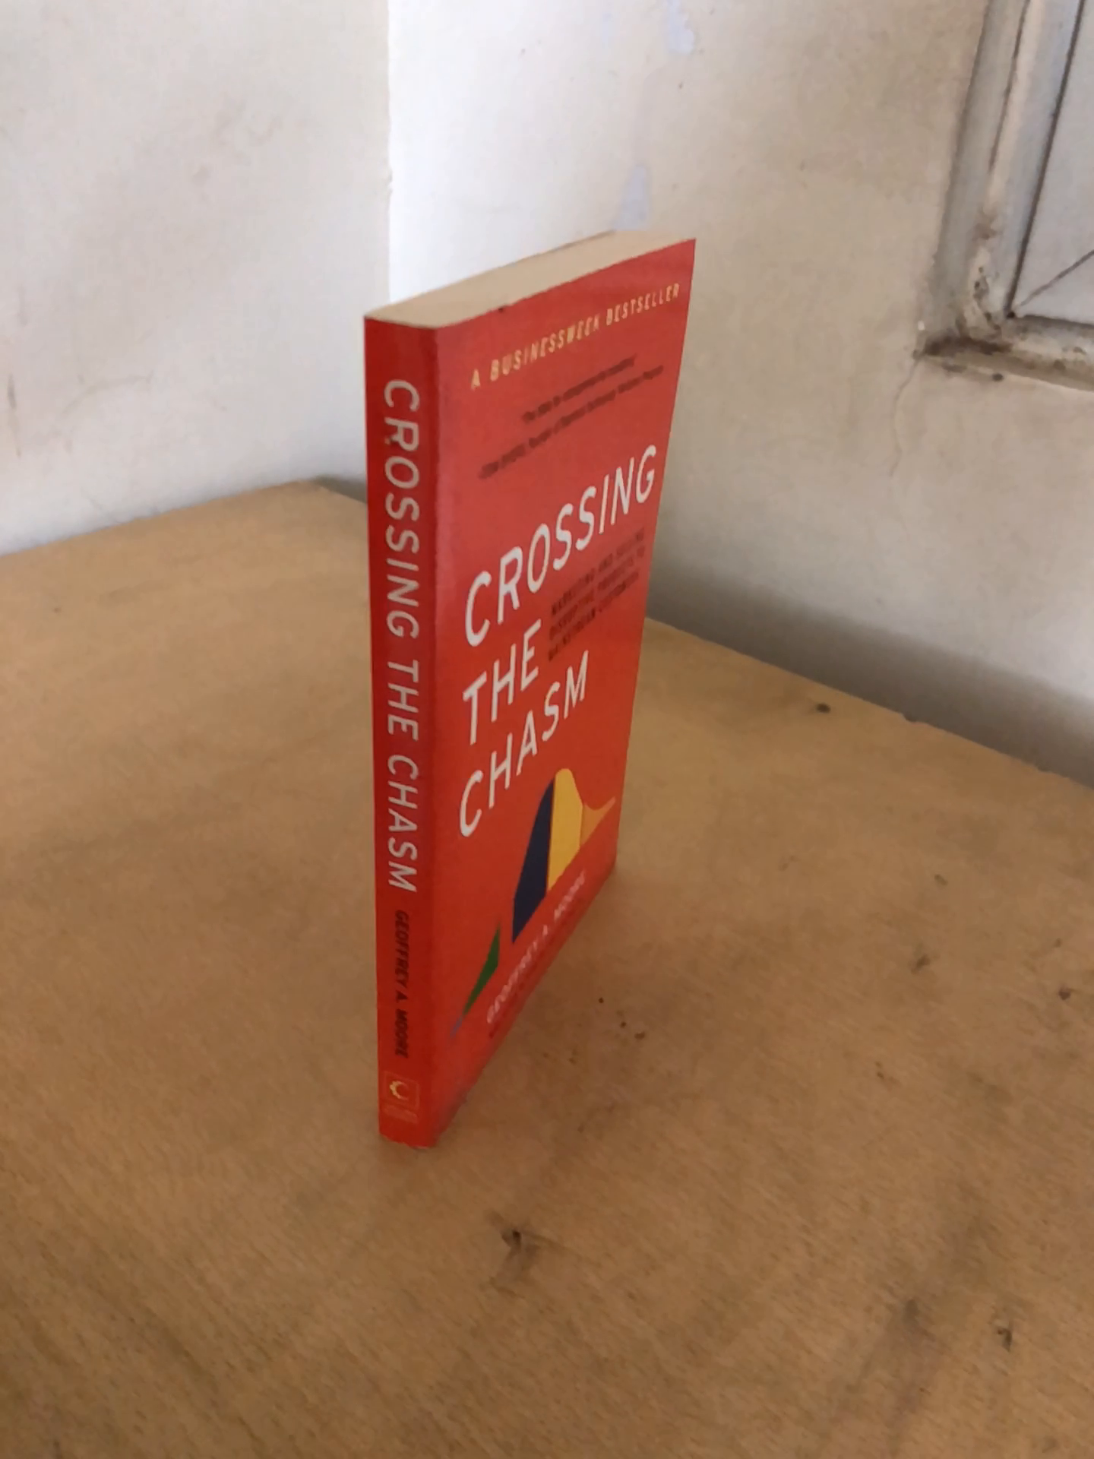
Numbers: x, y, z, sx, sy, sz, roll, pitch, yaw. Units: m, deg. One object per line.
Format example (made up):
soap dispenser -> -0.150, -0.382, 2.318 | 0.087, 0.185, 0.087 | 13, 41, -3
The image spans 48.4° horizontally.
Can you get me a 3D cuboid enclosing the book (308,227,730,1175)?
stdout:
book -> -0.001, -0.016, 0.321 | 0.030, 0.199, 0.161 | 14, 31, 19
